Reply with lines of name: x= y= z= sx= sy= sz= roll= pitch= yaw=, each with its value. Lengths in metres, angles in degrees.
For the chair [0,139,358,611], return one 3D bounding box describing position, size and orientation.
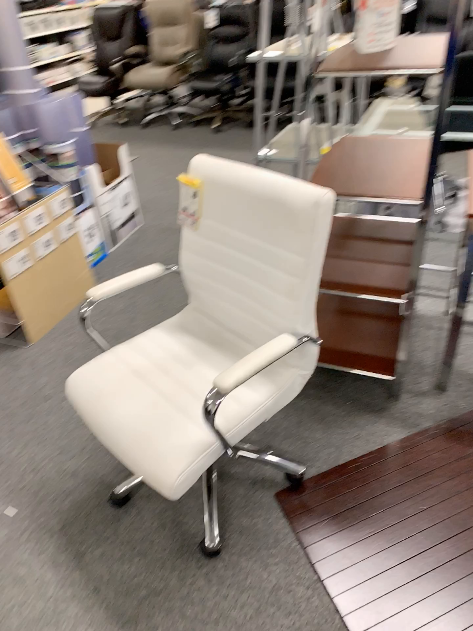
chair: x=-0.160 y=0.111 z=1.339 sx=0.681 sy=0.905 sz=0.623 roll=-31 pitch=43 yaw=-31
